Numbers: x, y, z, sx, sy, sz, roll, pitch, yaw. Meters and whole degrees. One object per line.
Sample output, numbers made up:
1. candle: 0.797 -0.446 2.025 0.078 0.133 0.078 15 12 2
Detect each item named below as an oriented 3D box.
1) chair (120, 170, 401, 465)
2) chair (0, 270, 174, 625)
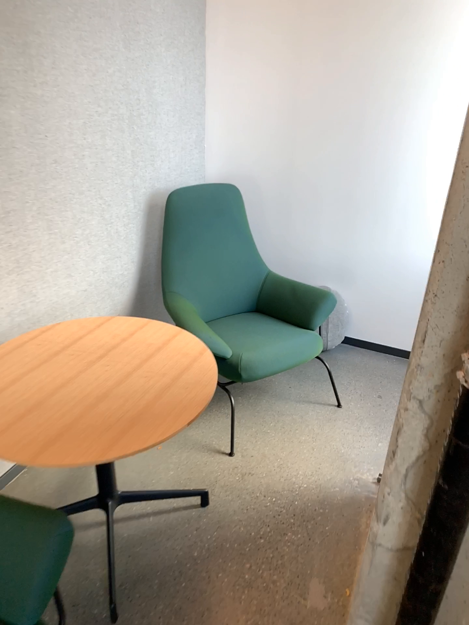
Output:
1. chair: 0.050 -0.087 2.340 0.821 0.954 1.005 -15 32 -30
2. chair: -0.728 0.614 1.010 0.851 1.034 0.834 15 30 23
